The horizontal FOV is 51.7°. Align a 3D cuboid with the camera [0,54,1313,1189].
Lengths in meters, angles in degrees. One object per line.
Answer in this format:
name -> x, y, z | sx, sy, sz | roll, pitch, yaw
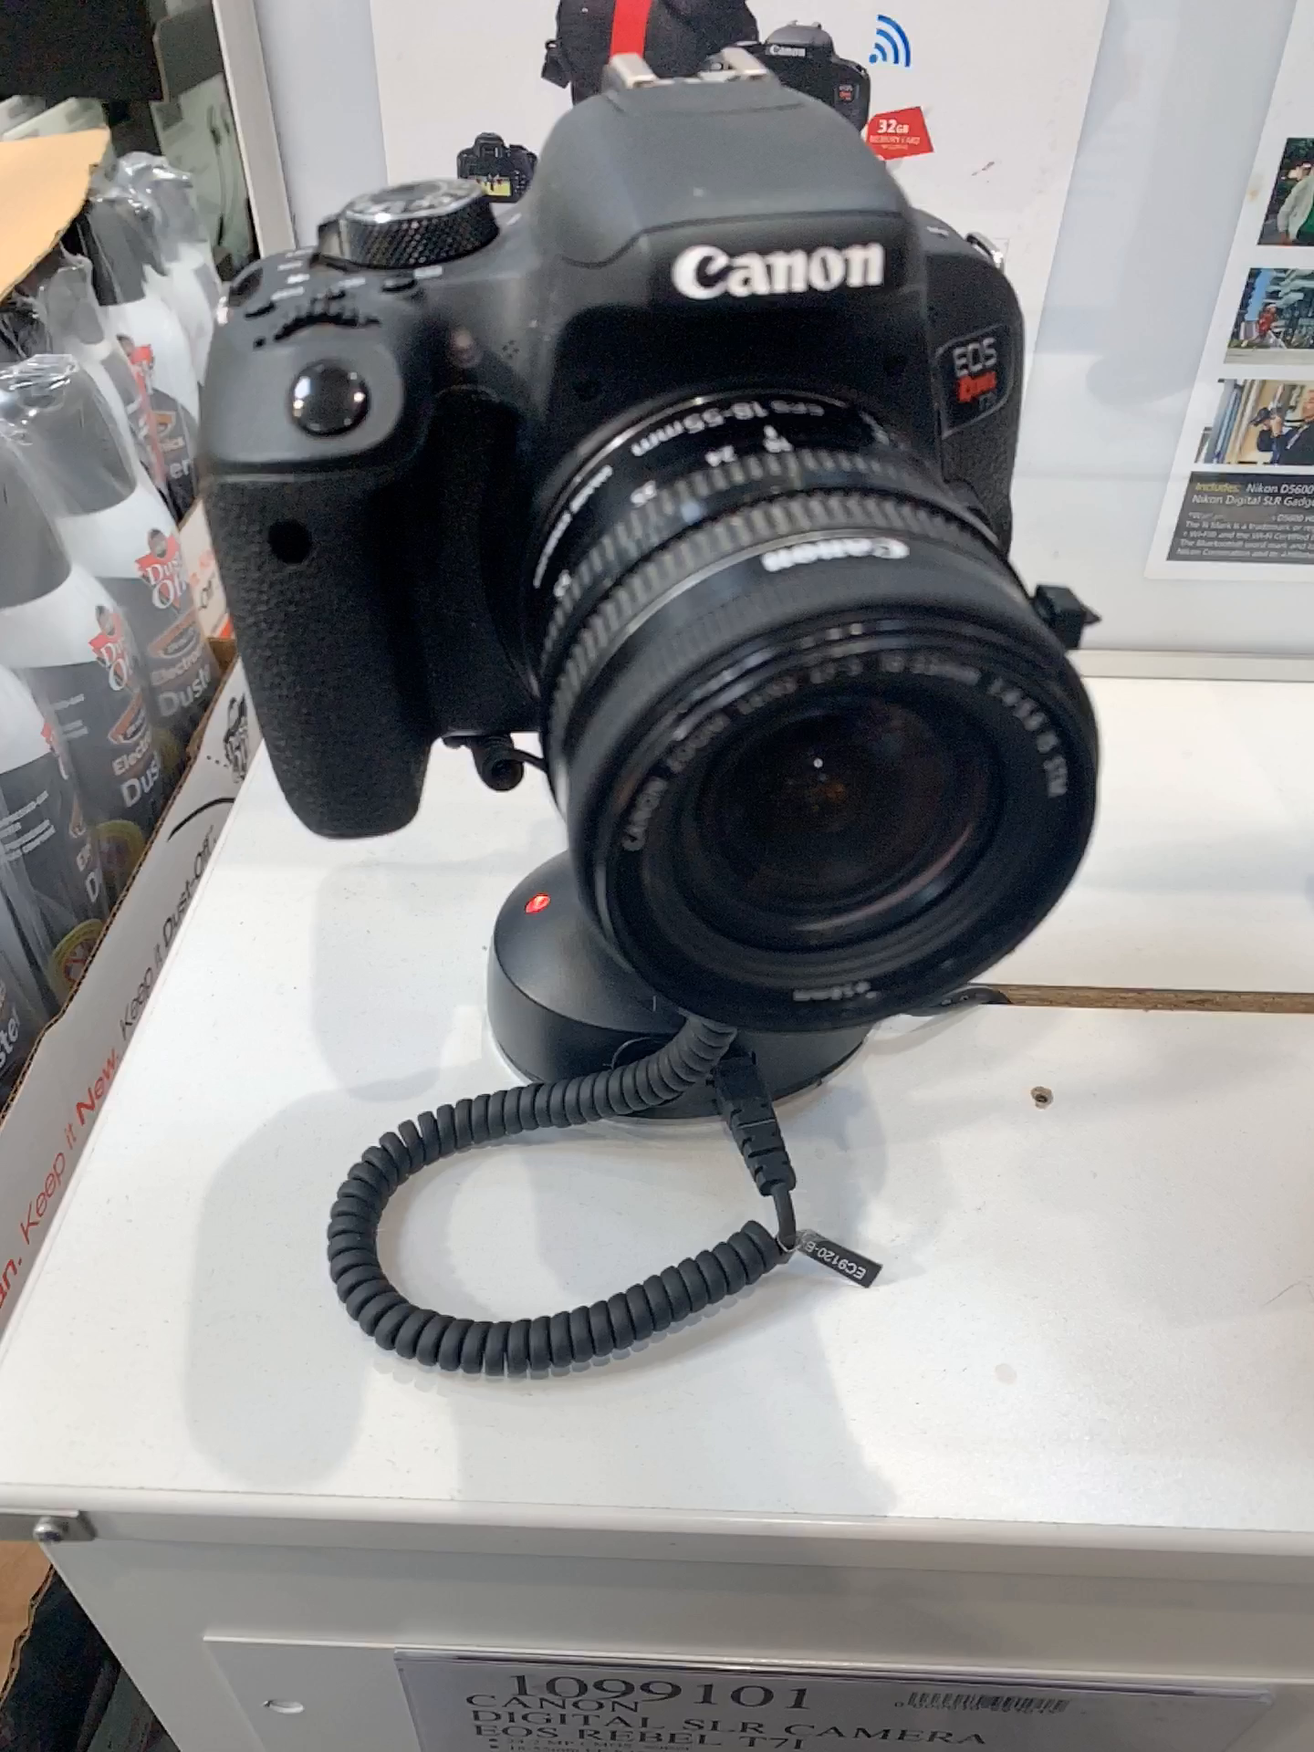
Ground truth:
camera -> 0.005, -0.044, 0.180 | 0.134, 0.089, 0.121 | -6, 41, -7
